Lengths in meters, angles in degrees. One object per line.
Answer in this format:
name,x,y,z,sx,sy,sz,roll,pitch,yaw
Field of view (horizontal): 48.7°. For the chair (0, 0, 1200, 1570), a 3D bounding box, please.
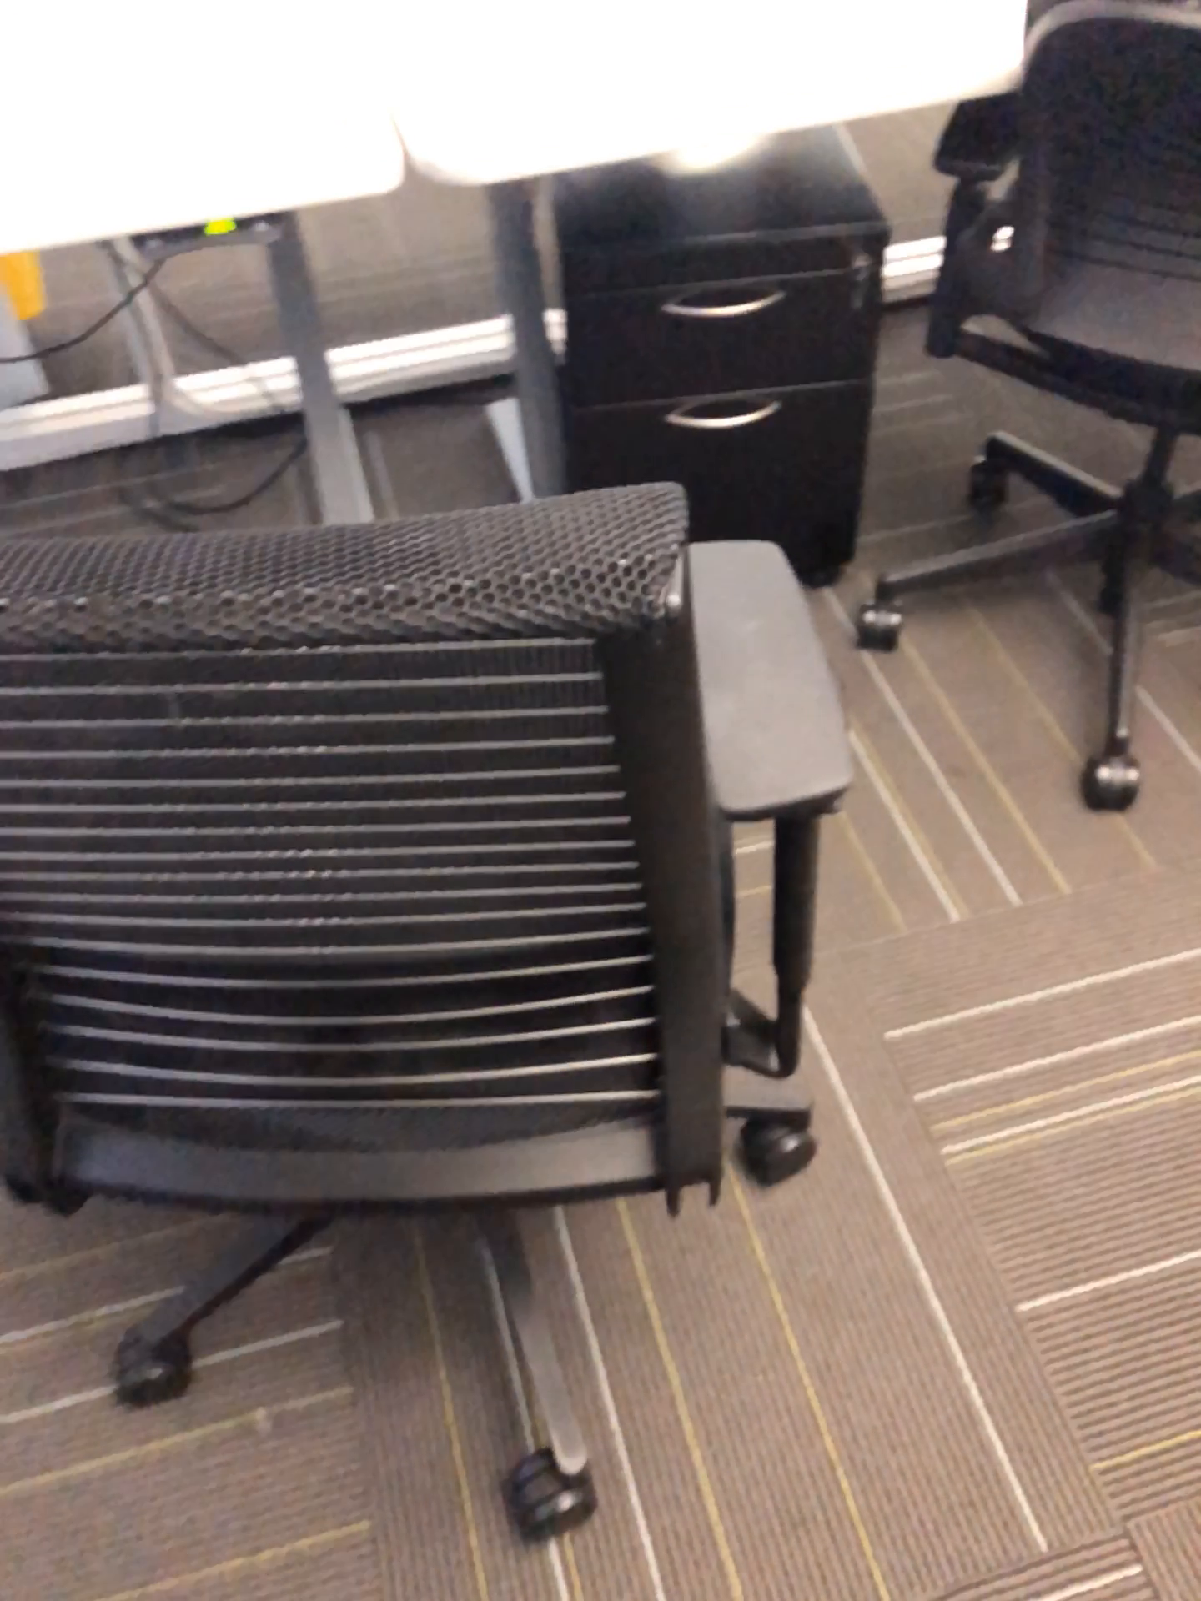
chair,-0.177,0.032,0.929,0.750,0.996,0.663,-3,48,1
